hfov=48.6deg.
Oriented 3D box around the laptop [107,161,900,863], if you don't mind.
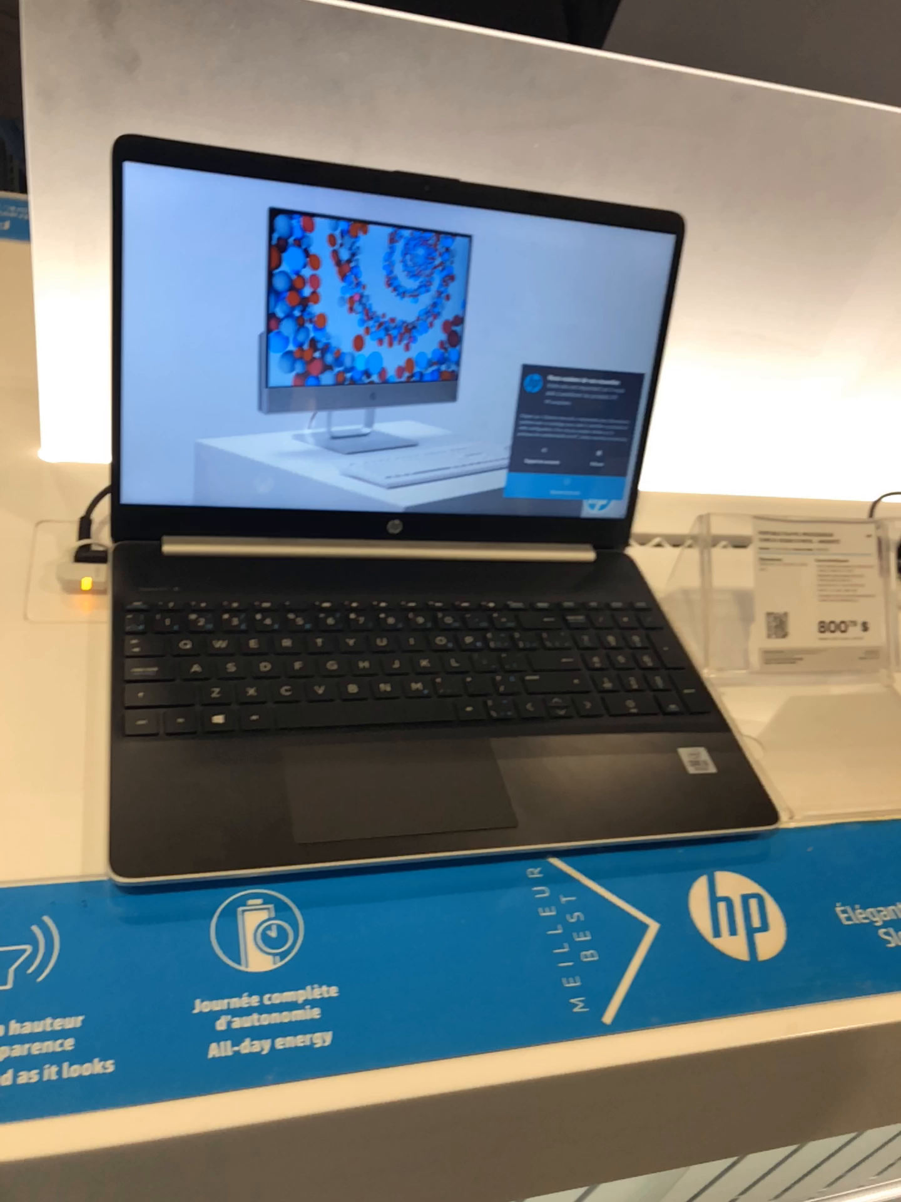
[{"bbox_3d":[0.000,-0.061,0.533,0.336,0.206,0.317,1,39,-17],"label":"laptop"}]
